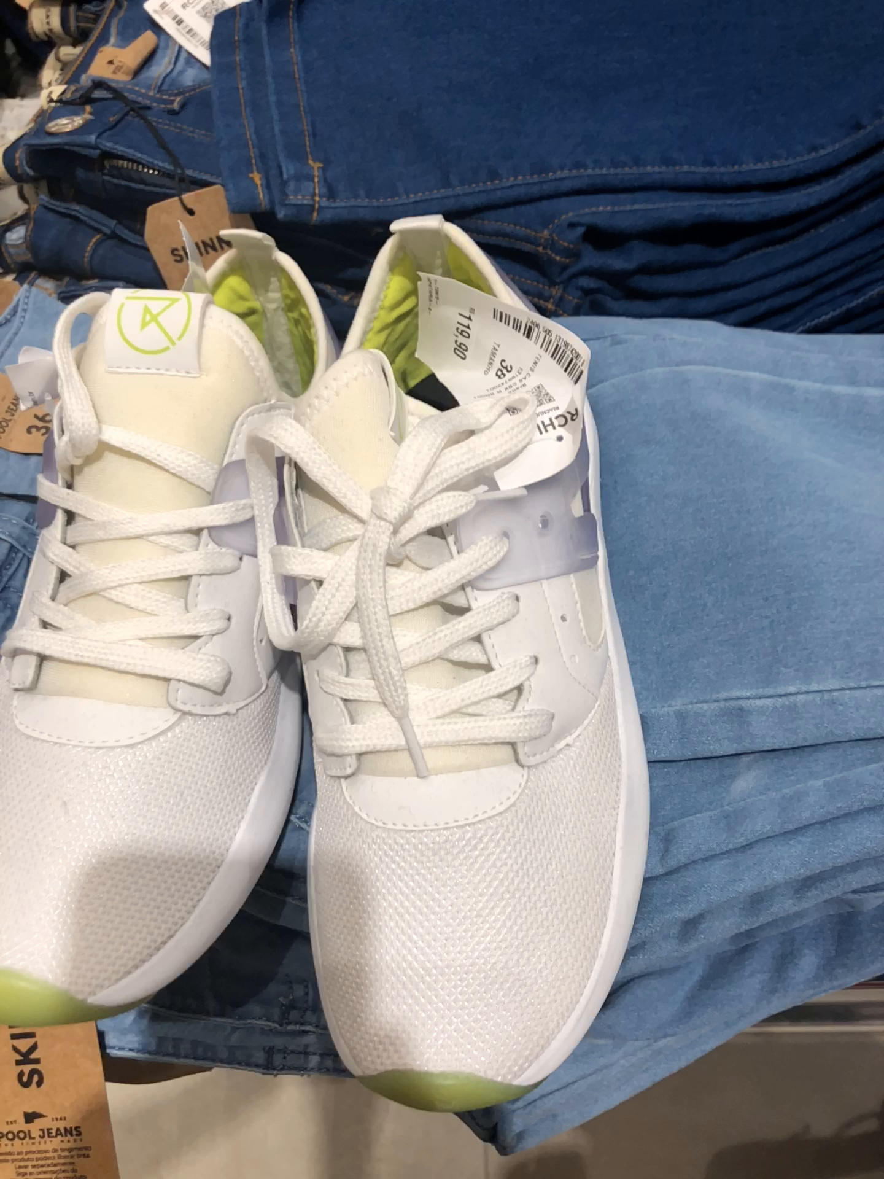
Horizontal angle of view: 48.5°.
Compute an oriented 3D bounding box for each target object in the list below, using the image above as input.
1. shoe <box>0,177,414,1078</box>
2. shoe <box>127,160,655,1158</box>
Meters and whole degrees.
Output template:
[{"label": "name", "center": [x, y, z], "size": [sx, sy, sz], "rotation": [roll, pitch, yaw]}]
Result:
[{"label": "shoe", "center": [-0.091, -0.014, 0.309], "size": [0.110, 0.120, 0.261], "rotation": [6, 46, 8]}, {"label": "shoe", "center": [-0.003, 0.013, 0.284], "size": [0.100, 0.090, 0.251], "rotation": [-6, 64, 16]}]
